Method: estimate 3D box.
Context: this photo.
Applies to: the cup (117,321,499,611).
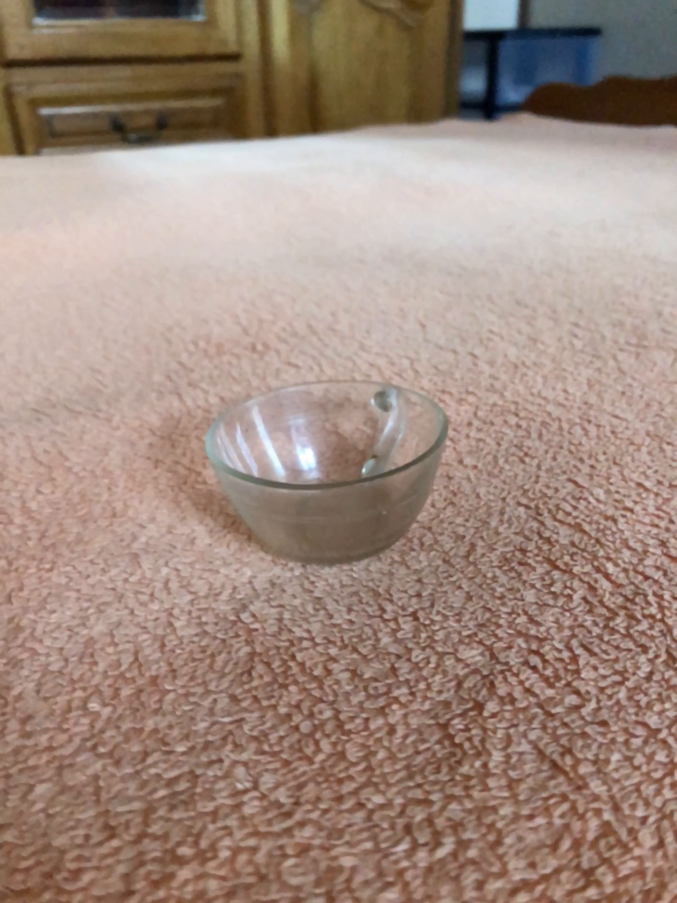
[{"bbox_3d":[-0.004,-0.005,0.271,0.090,0.040,0.111,12,32,24],"label":"cup"}]
